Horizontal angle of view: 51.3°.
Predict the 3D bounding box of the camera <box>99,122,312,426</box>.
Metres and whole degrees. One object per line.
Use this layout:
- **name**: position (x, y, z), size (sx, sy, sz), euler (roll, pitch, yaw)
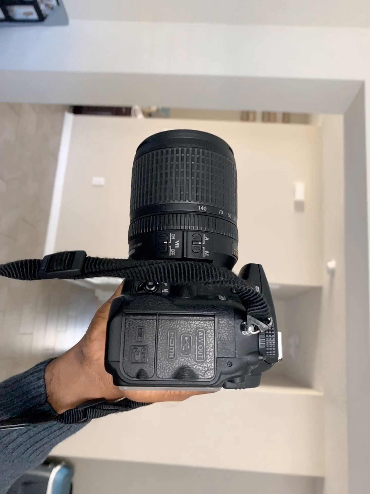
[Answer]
- **camera**: position (0.009, 0.025, 0.298), size (0.160, 0.114, 0.170), euler (114, -22, -78)
